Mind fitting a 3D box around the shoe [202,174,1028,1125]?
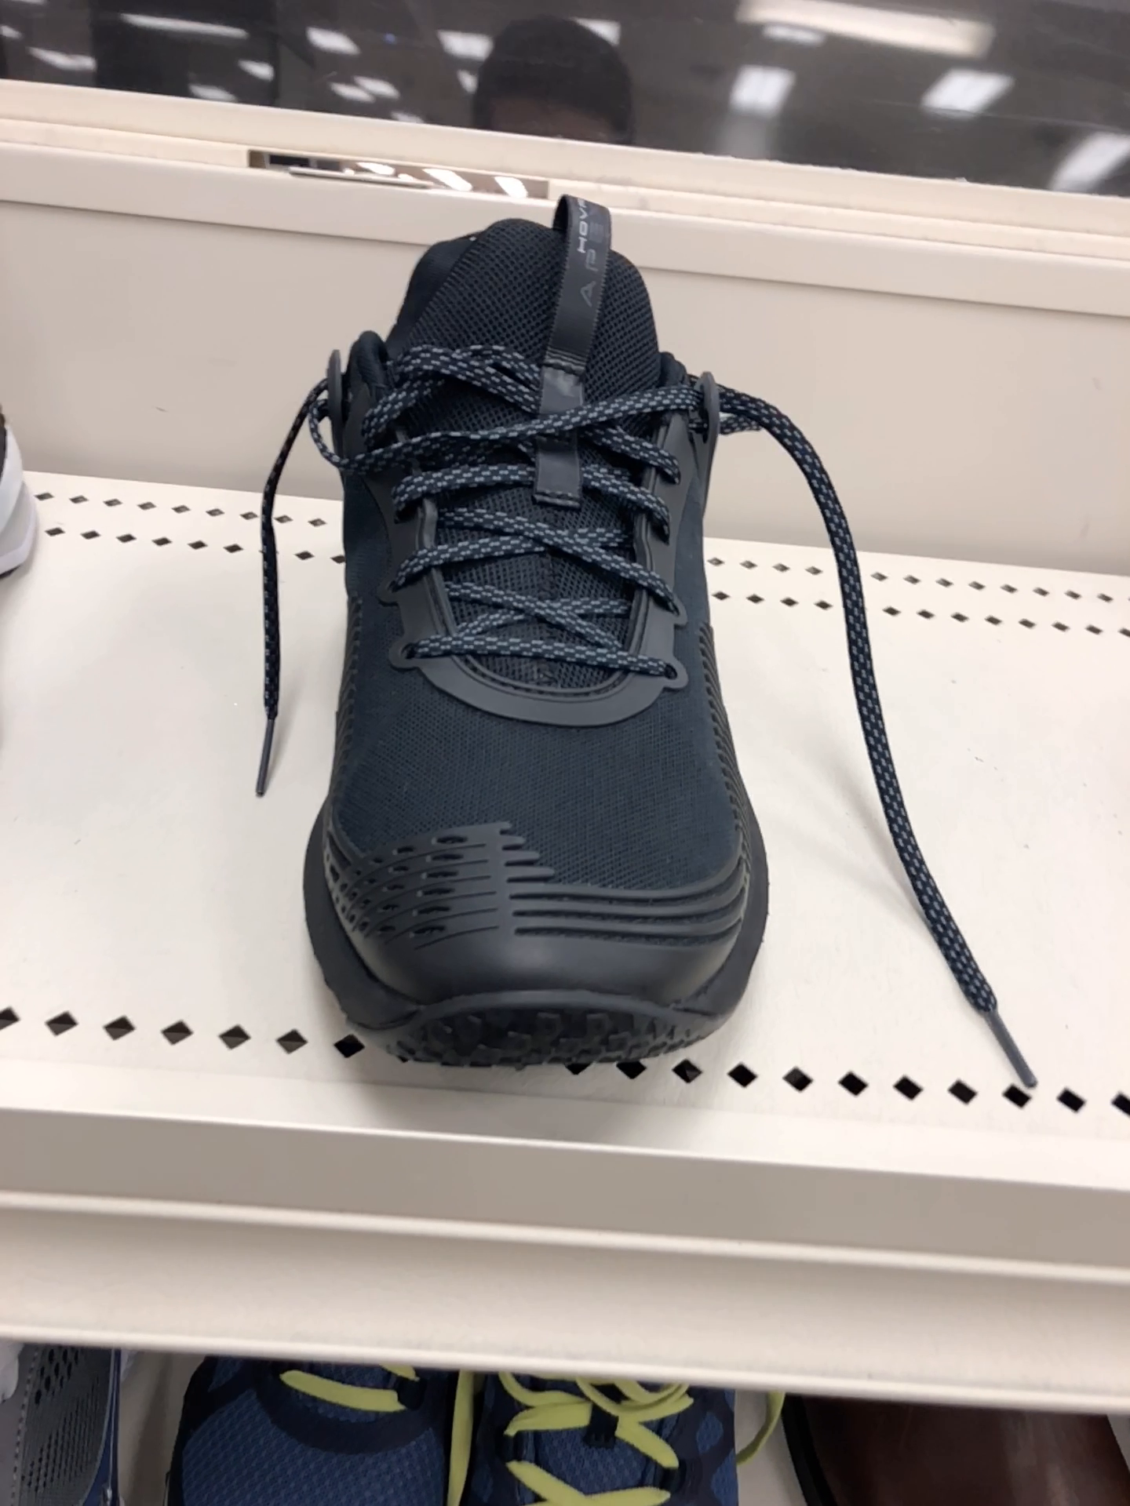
[{"bbox_3d":[-0.006,-0.074,0.363,0.120,0.129,0.353,4,30,-6],"label":"shoe"}]
